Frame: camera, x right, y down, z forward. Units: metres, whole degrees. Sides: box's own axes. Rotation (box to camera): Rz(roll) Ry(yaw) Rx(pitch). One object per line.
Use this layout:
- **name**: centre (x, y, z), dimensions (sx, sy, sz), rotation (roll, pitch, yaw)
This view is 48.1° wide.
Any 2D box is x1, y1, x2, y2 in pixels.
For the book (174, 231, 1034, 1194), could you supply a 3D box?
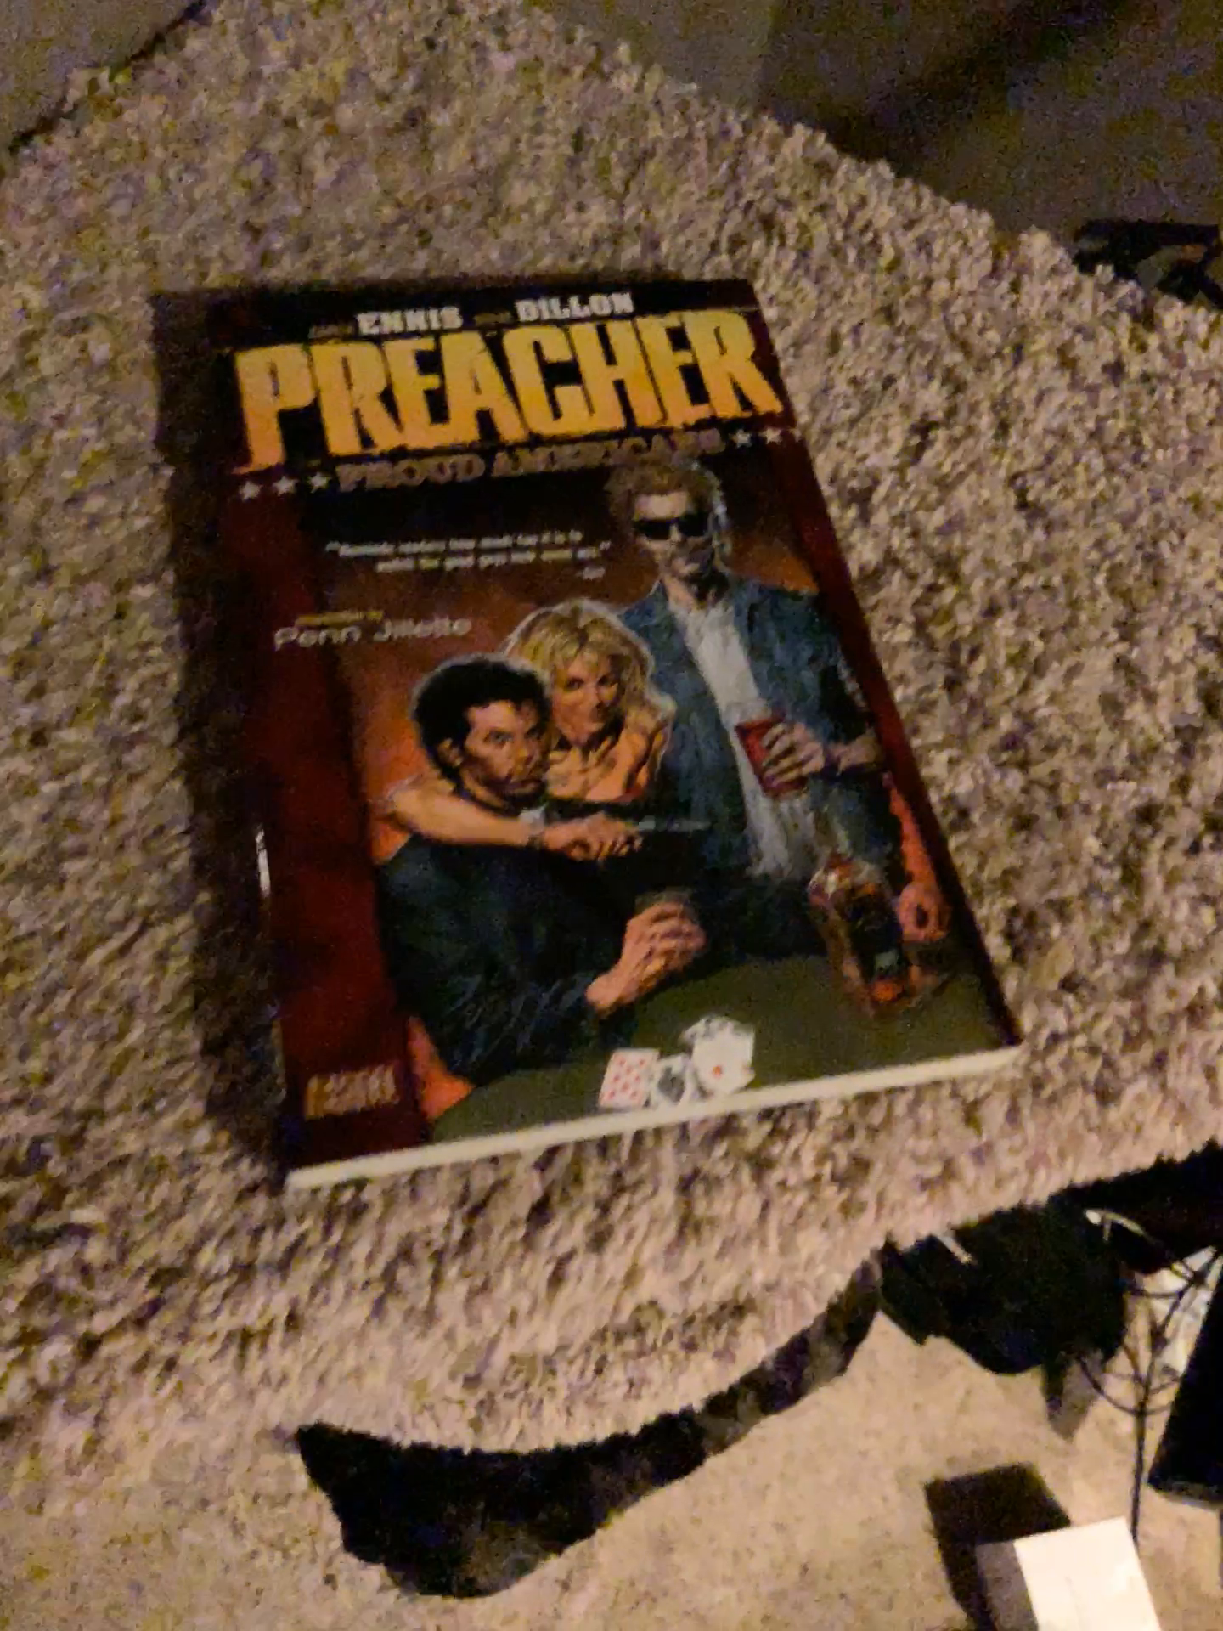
- **book**: centre (-0.016, -0.052, 0.366), dimensions (0.170, 0.020, 0.270), rotation (-8, 63, -13)

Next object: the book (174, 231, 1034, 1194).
- **book**: centre (-0.016, -0.052, 0.366), dimensions (0.170, 0.020, 0.270), rotation (-8, 63, -13)
